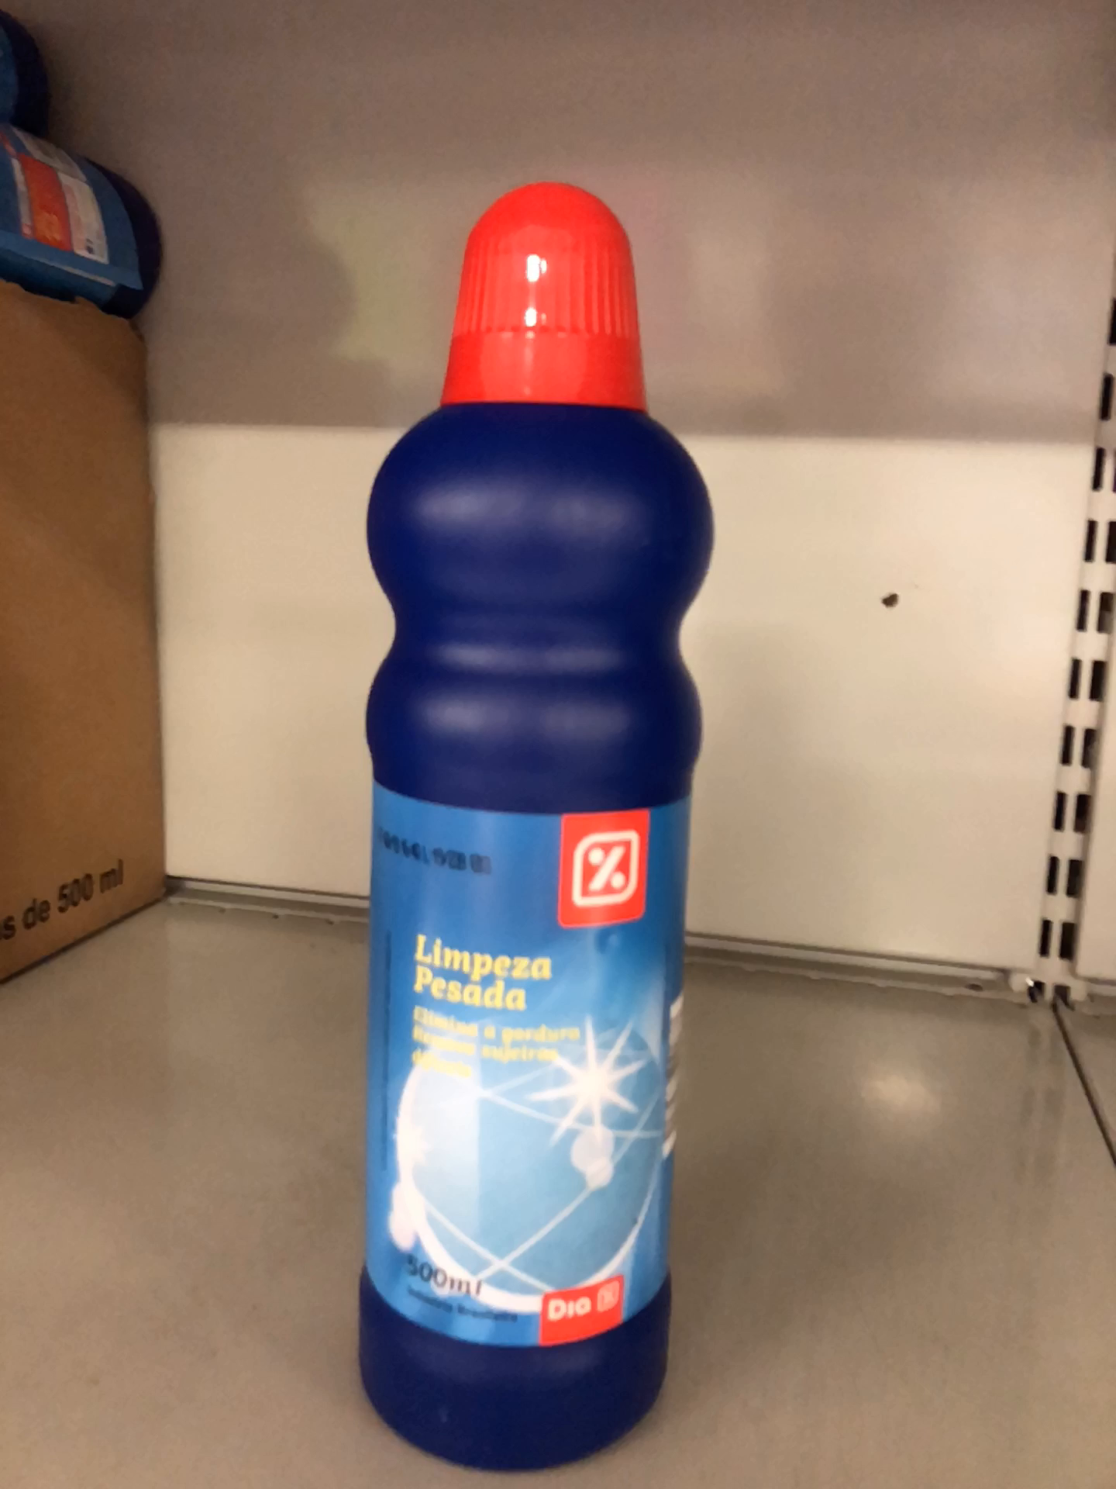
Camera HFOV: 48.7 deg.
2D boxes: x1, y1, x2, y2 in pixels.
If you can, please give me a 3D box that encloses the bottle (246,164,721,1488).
[{"bbox_3d":[-0.009,0.026,0.236,0.070,0.239,0.070,1,11,0],"label":"bottle"}]
